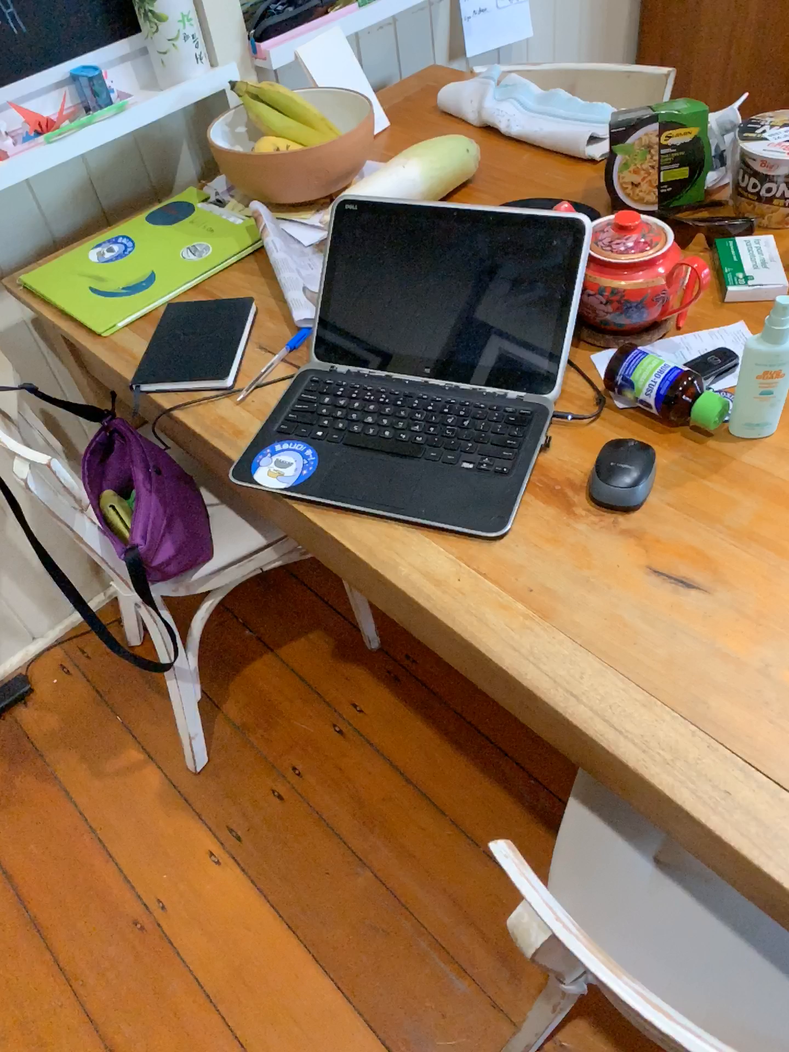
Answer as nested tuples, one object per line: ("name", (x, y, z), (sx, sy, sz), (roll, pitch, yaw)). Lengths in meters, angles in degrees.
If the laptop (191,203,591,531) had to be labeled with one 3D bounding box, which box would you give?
("laptop", (0.018, -0.192, 0.872), (0.303, 0.139, 0.340), (12, 51, 19))
